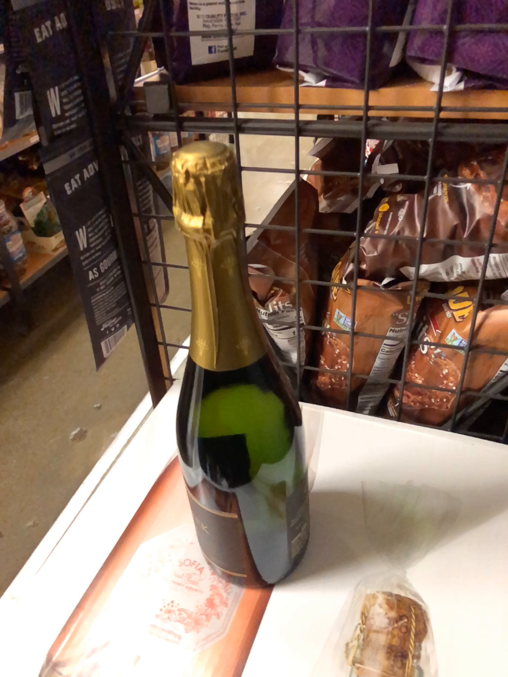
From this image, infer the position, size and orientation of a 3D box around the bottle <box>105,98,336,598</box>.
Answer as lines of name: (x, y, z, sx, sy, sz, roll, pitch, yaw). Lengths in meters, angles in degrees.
bottle: (-0.006, 0.030, 0.344, 0.090, 0.309, 0.090, -3, 35, 2)
